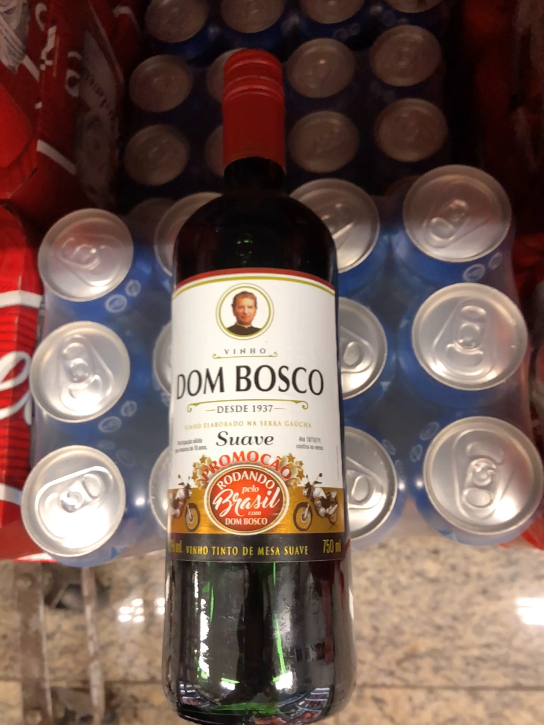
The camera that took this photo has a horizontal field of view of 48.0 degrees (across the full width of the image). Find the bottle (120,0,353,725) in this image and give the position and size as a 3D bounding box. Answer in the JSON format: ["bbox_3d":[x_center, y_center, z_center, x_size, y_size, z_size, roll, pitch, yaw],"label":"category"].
[{"bbox_3d":[-0.009,-0.012,0.272,0.080,0.070,0.300,-2,78,7],"label":"bottle"}]
